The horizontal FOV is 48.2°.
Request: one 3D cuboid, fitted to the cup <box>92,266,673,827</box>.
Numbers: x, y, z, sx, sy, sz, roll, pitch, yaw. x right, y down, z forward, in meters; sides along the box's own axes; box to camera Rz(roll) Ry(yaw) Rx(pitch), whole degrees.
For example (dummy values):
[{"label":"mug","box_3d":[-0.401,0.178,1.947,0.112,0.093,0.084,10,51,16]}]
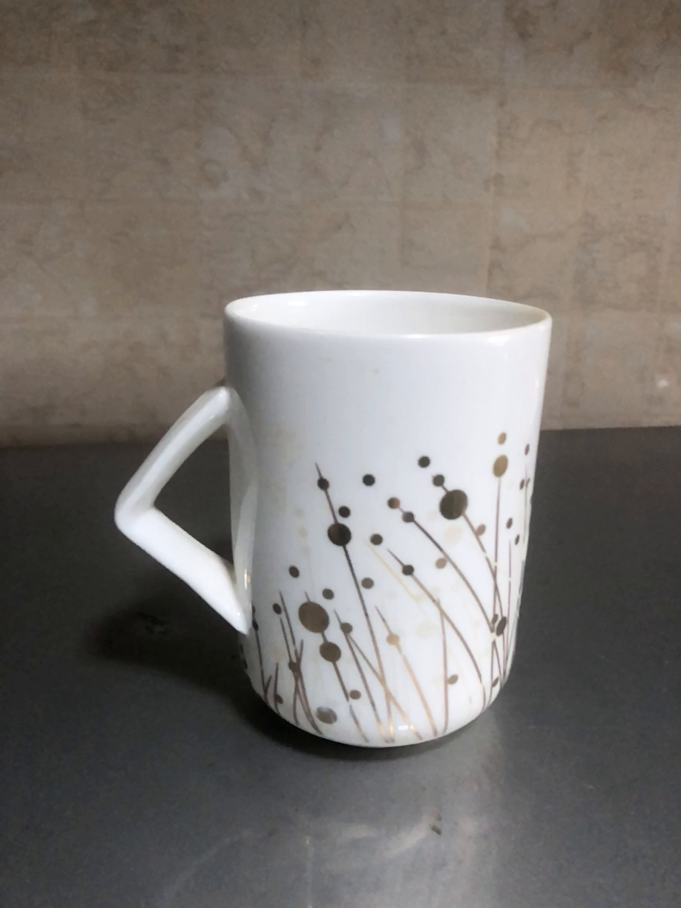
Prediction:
[{"label":"cup","box_3d":[0.002,0.008,0.189,0.110,0.099,0.080,-6,19,-20]}]
